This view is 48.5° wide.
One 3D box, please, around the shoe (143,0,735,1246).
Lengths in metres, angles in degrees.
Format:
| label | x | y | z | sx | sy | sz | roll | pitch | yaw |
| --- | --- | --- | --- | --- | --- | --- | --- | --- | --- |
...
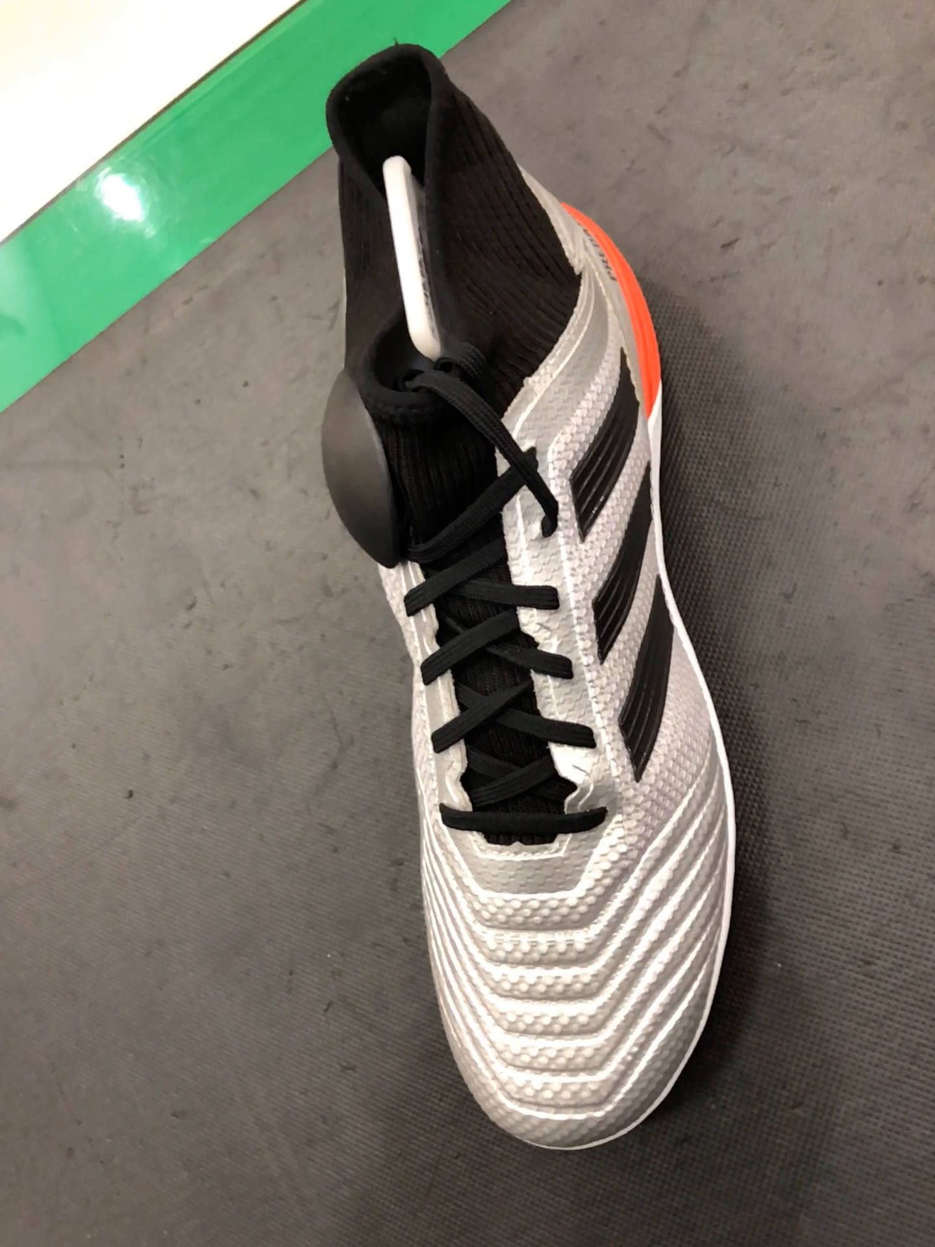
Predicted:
| label | x | y | z | sx | sy | sz | roll | pitch | yaw |
| --- | --- | --- | --- | --- | --- | --- | --- | --- | --- |
| shoe | -0.001 | 0.009 | 0.270 | 0.090 | 0.140 | 0.250 | -8 | 79 | 23 |
